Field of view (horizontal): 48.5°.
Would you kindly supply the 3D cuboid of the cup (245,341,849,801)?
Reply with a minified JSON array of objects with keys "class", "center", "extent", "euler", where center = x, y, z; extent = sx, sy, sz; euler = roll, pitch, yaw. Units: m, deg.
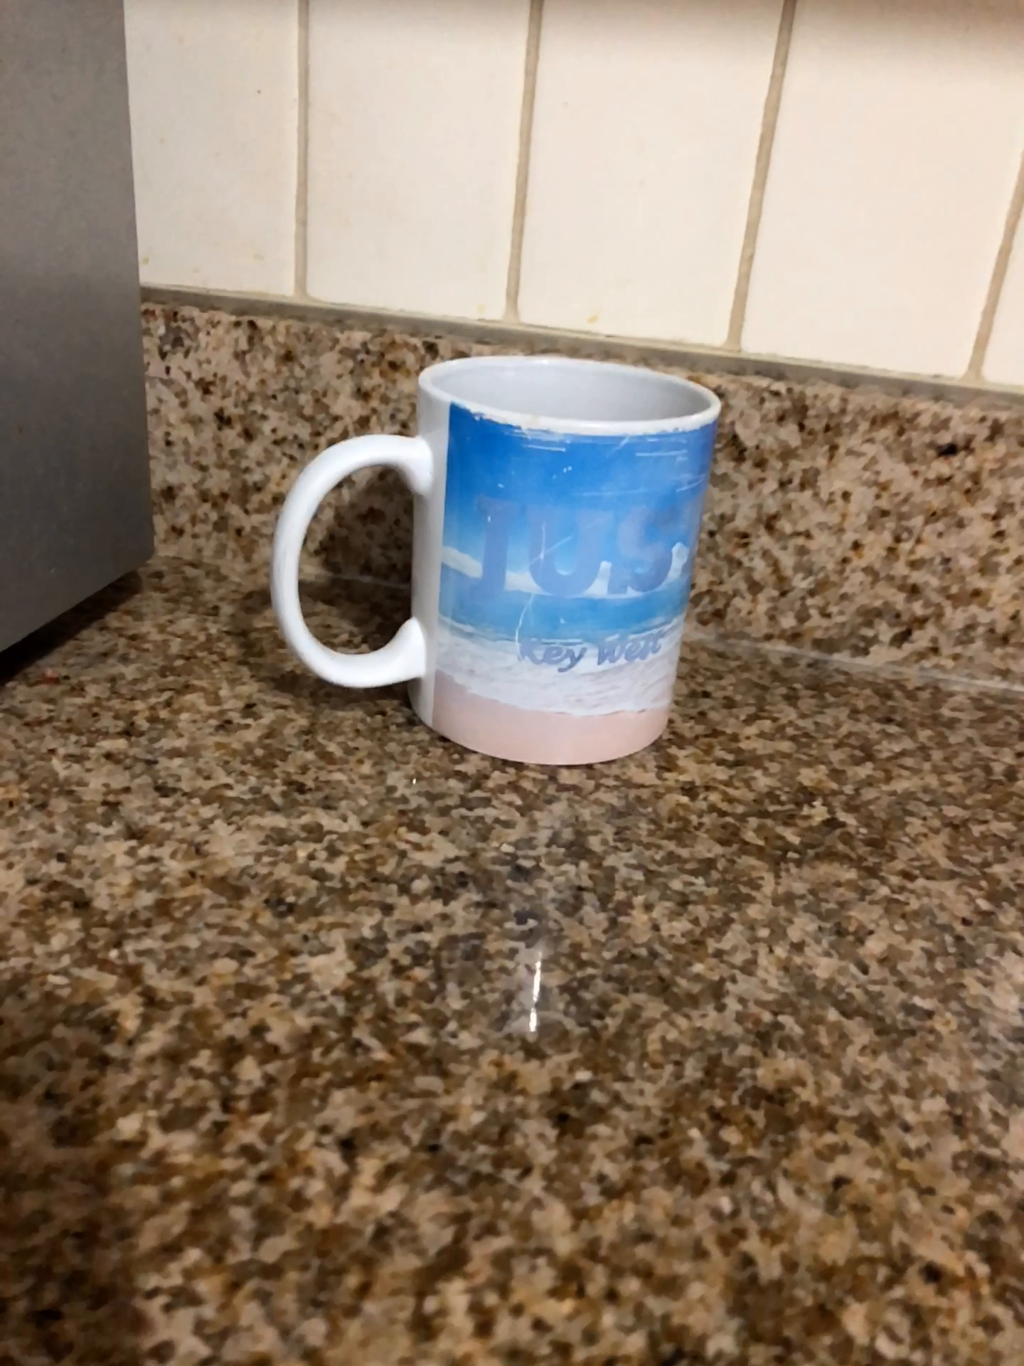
[{"class":"cup","center":[0.001,-0.037,0.307],"extent":[0.130,0.090,0.090],"euler":[-5,26,-21]}]
